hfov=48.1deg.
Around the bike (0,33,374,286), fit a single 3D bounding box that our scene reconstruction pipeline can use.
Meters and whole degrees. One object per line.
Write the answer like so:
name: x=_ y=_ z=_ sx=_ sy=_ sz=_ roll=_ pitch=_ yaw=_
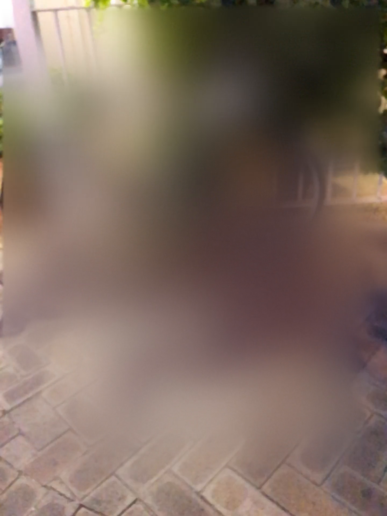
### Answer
bike: x=-0.155 y=-0.473 z=2.108 sx=1.692 sy=0.995 sz=0.555 roll=-3 pitch=26 yaw=2
